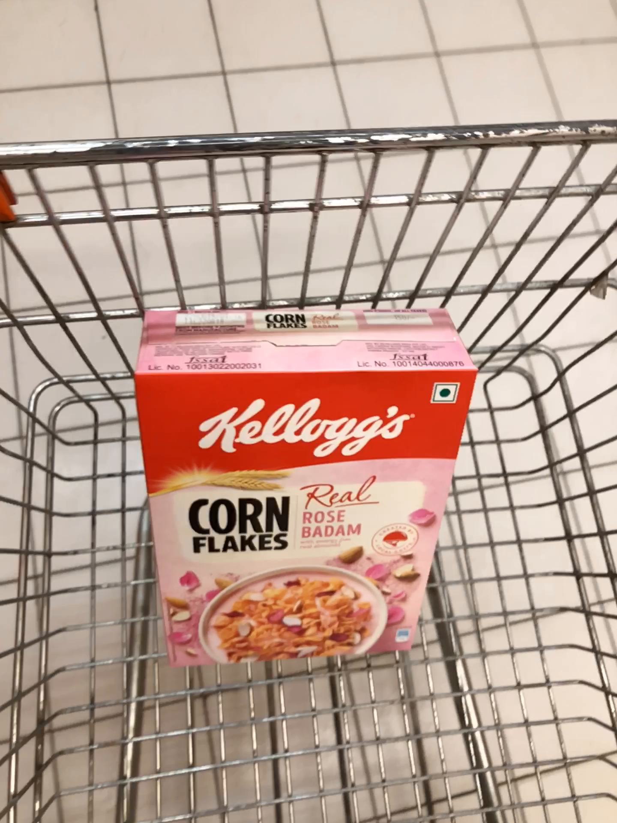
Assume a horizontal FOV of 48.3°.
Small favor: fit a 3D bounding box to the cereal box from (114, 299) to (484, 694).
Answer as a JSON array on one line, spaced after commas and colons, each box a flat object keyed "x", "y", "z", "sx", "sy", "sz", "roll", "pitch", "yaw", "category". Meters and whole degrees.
[{"x": -0.012, "y": 0.064, "z": 0.441, "sx": 0.180, "sy": 0.259, "sz": 0.080, "roll": -2, "pitch": 37, "yaw": -7, "category": "cereal box"}]
